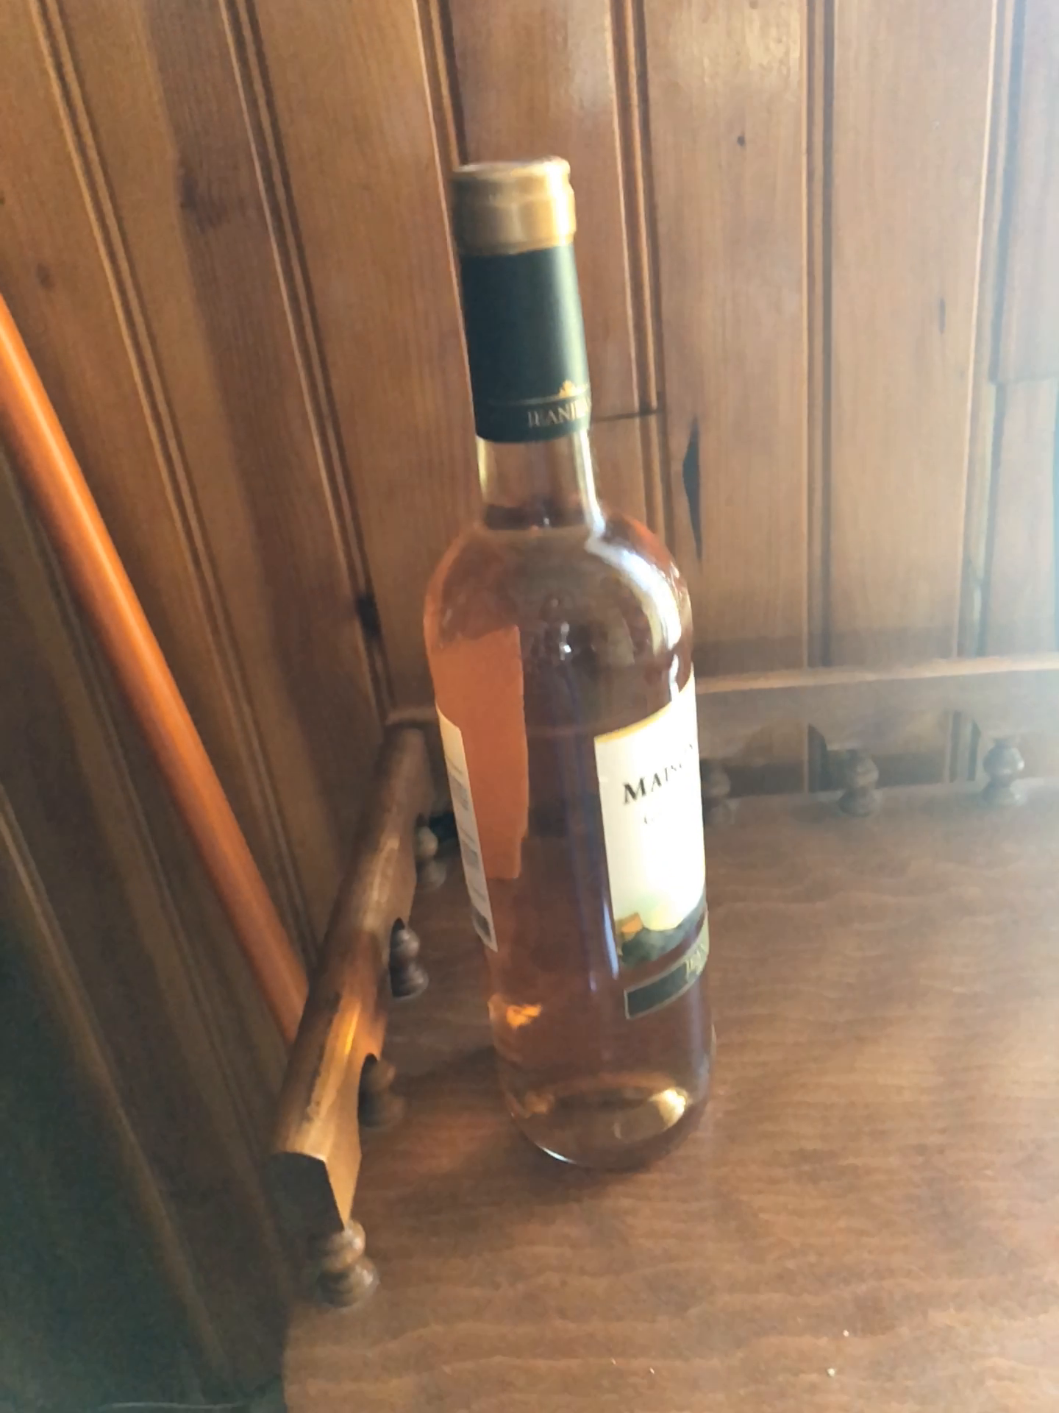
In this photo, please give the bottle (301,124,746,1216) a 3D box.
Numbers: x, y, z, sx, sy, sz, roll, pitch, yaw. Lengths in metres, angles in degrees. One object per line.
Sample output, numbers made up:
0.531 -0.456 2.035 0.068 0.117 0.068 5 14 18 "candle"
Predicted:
0.016 0.006 0.325 0.070 0.288 0.081 4 31 19 "bottle"
